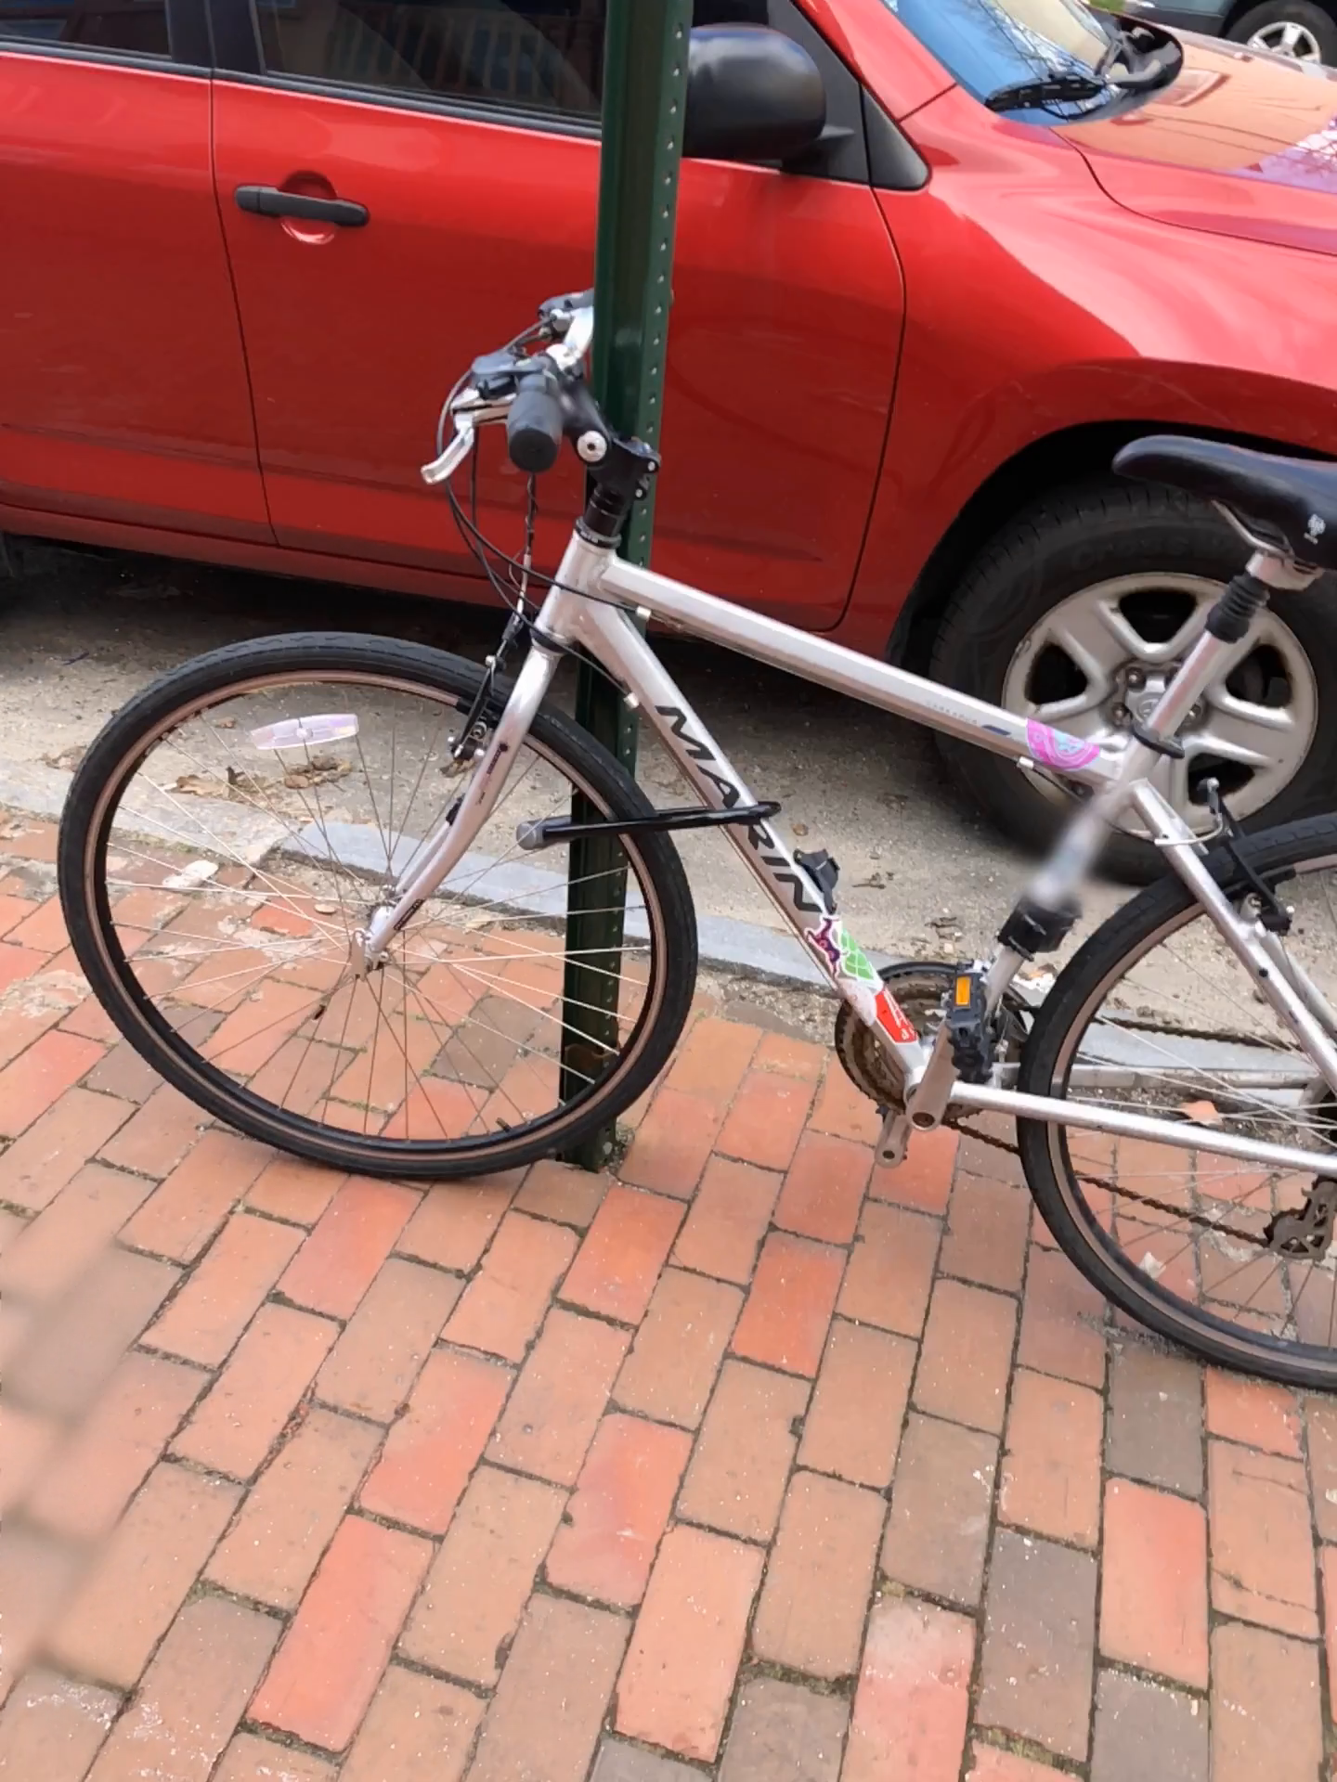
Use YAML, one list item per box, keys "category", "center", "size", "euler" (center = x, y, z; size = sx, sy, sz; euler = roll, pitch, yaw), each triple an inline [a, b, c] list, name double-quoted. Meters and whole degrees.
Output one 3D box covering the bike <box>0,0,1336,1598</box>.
- category: "bike"
  center: [0.122, -0.121, 1.350]
  size: [1.559, 1.010, 0.612]
  euler: [12, 37, 6]
